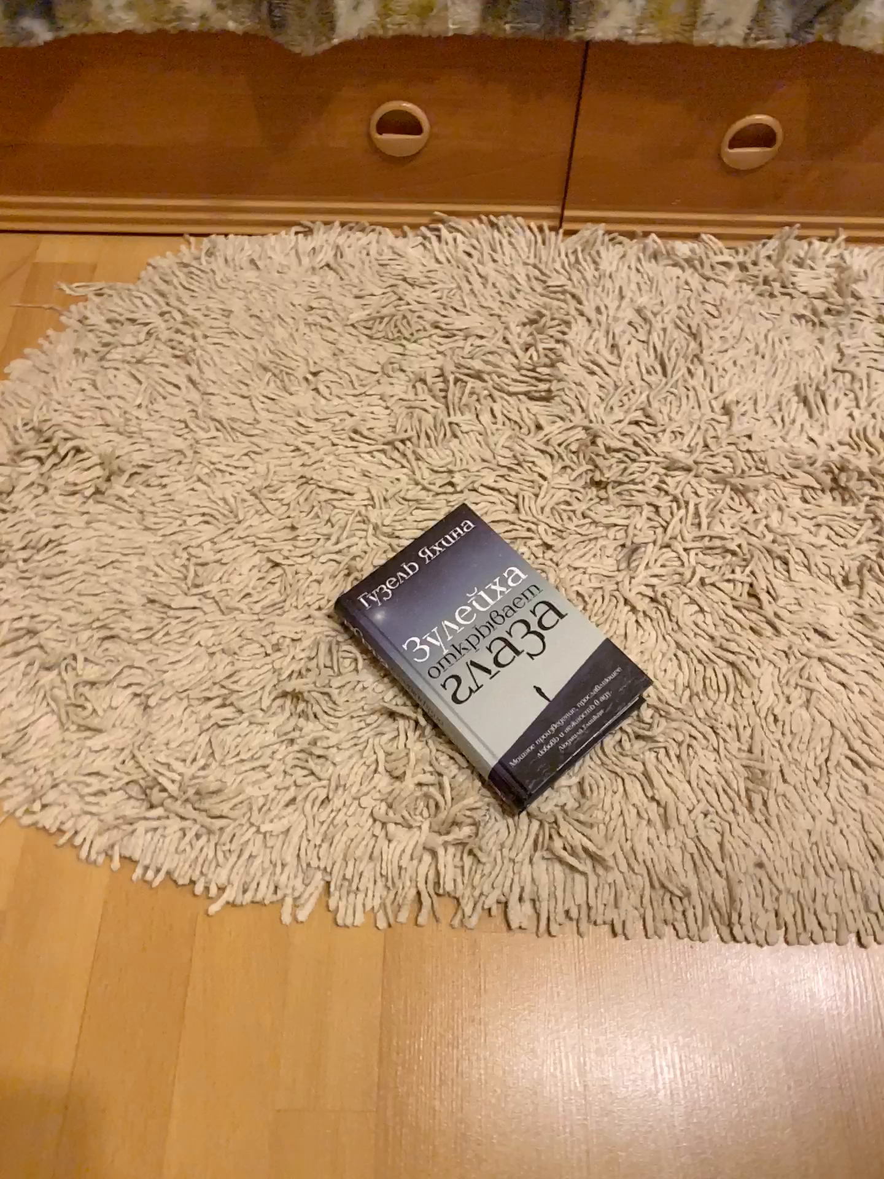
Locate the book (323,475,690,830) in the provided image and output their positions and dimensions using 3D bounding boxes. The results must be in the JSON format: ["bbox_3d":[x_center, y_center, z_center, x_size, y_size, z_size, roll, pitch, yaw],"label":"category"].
[{"bbox_3d":[0.042,0.036,0.651,0.150,0.040,0.221,-37,68,-19],"label":"book"}]
